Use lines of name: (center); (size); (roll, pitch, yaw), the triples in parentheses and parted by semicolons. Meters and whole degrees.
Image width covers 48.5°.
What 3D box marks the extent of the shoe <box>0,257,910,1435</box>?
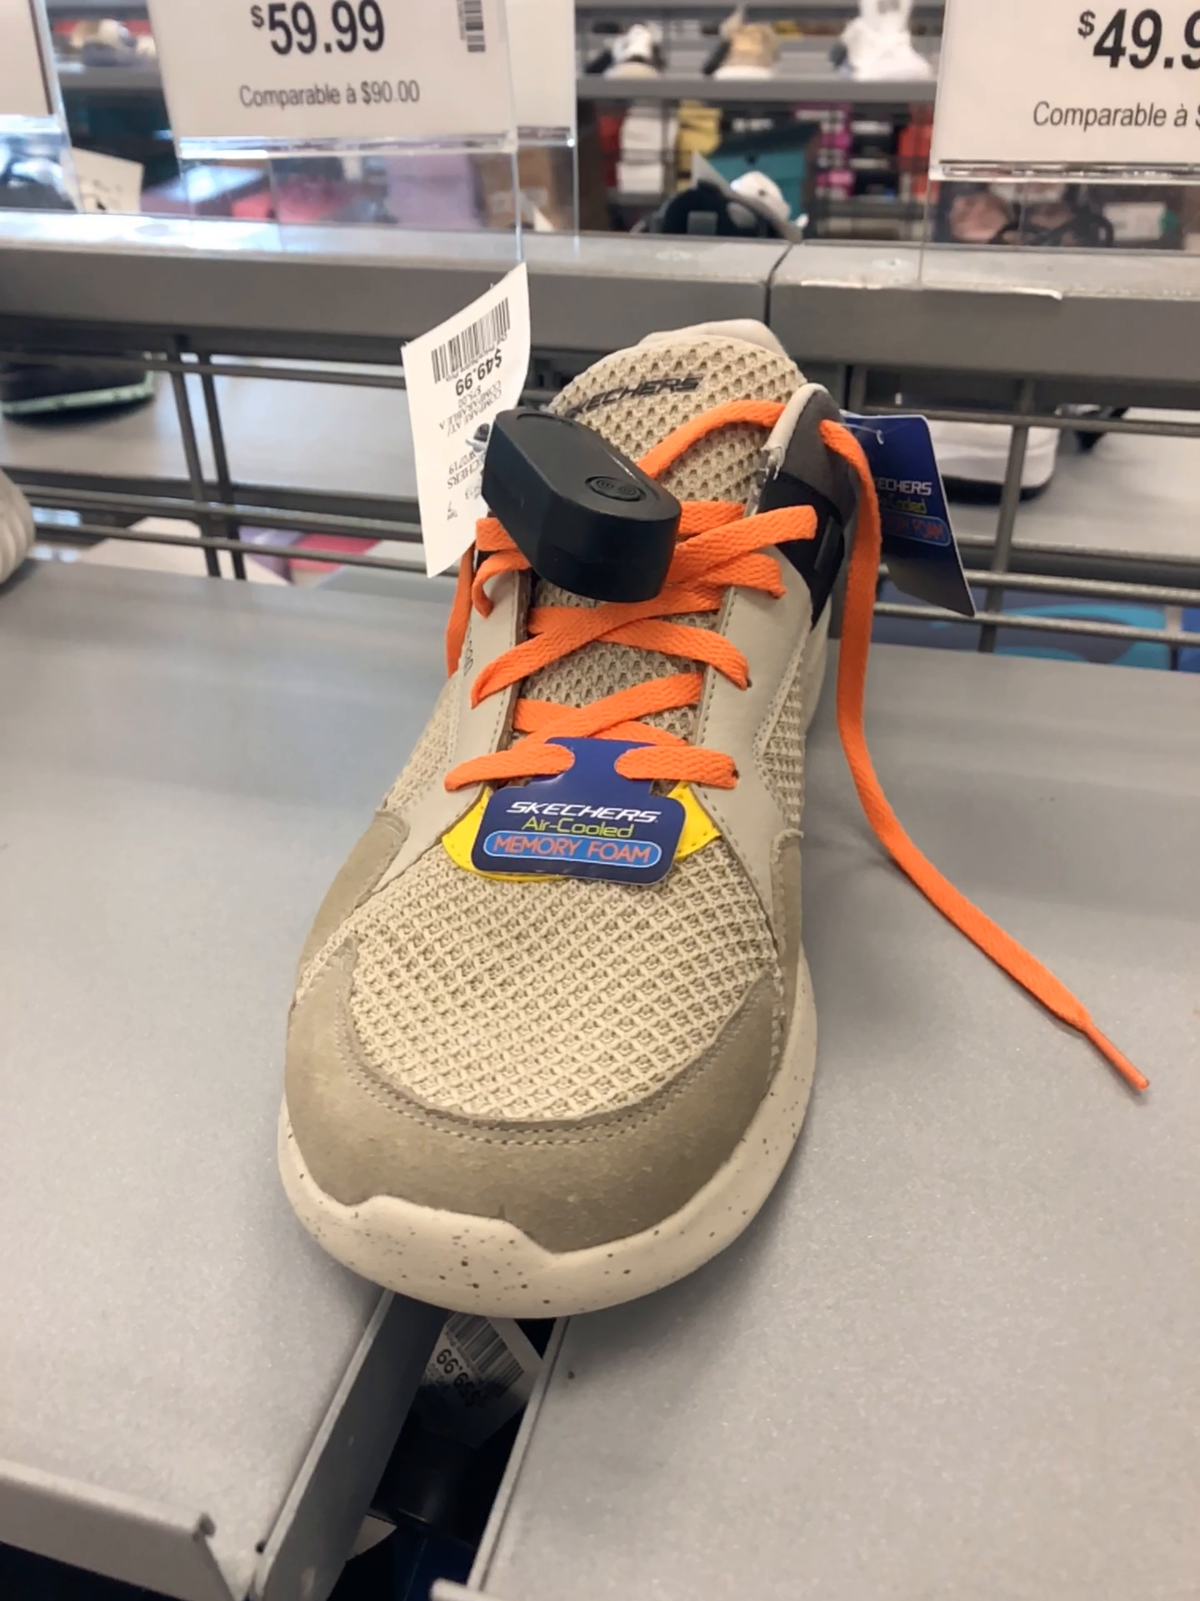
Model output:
shoe: (0.000, -0.029, 0.309); (0.125, 0.109, 0.282); (6, 37, 10)
